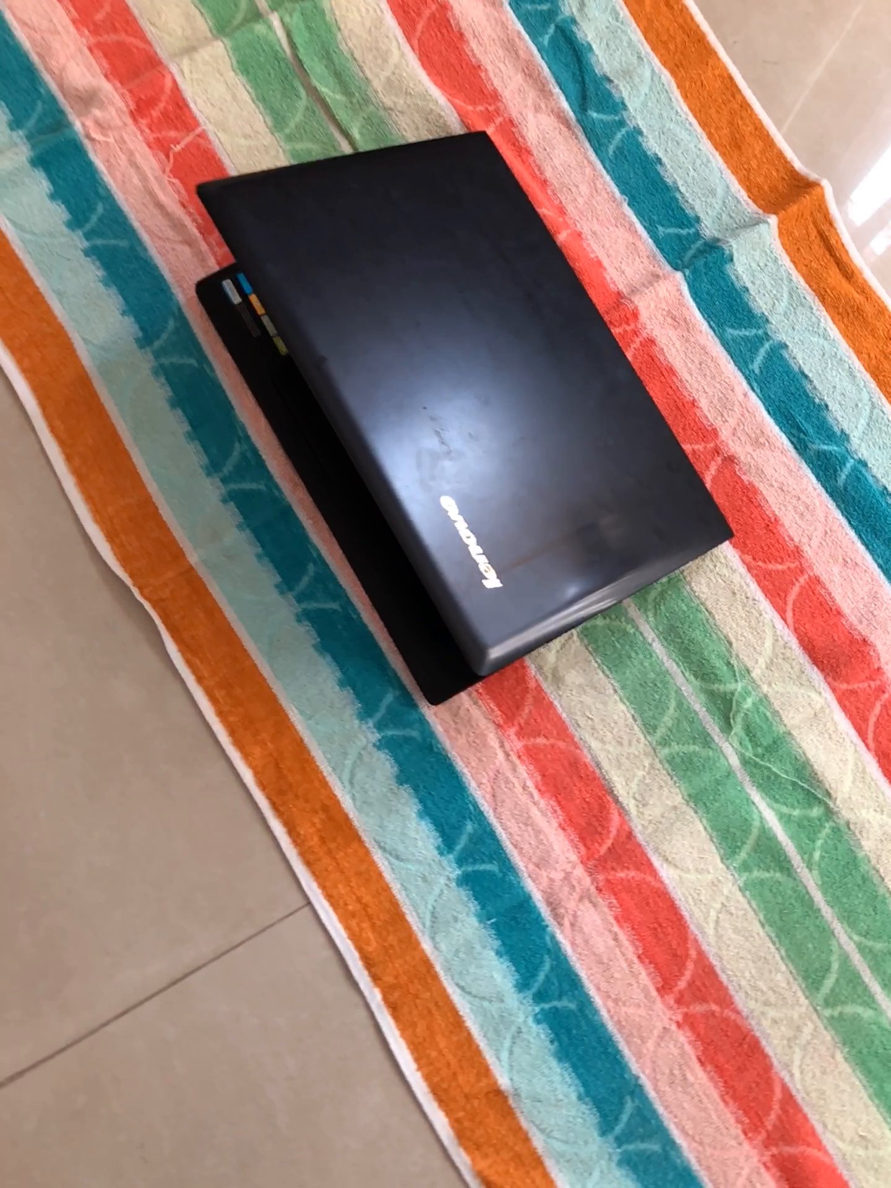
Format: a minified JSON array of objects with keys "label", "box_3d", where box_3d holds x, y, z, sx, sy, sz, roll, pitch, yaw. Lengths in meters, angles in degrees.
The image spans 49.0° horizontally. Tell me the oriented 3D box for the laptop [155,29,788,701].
[{"label":"laptop","box_3d":[0.015,-0.150,0.677,0.253,0.126,0.363,-29,84,-9]}]
